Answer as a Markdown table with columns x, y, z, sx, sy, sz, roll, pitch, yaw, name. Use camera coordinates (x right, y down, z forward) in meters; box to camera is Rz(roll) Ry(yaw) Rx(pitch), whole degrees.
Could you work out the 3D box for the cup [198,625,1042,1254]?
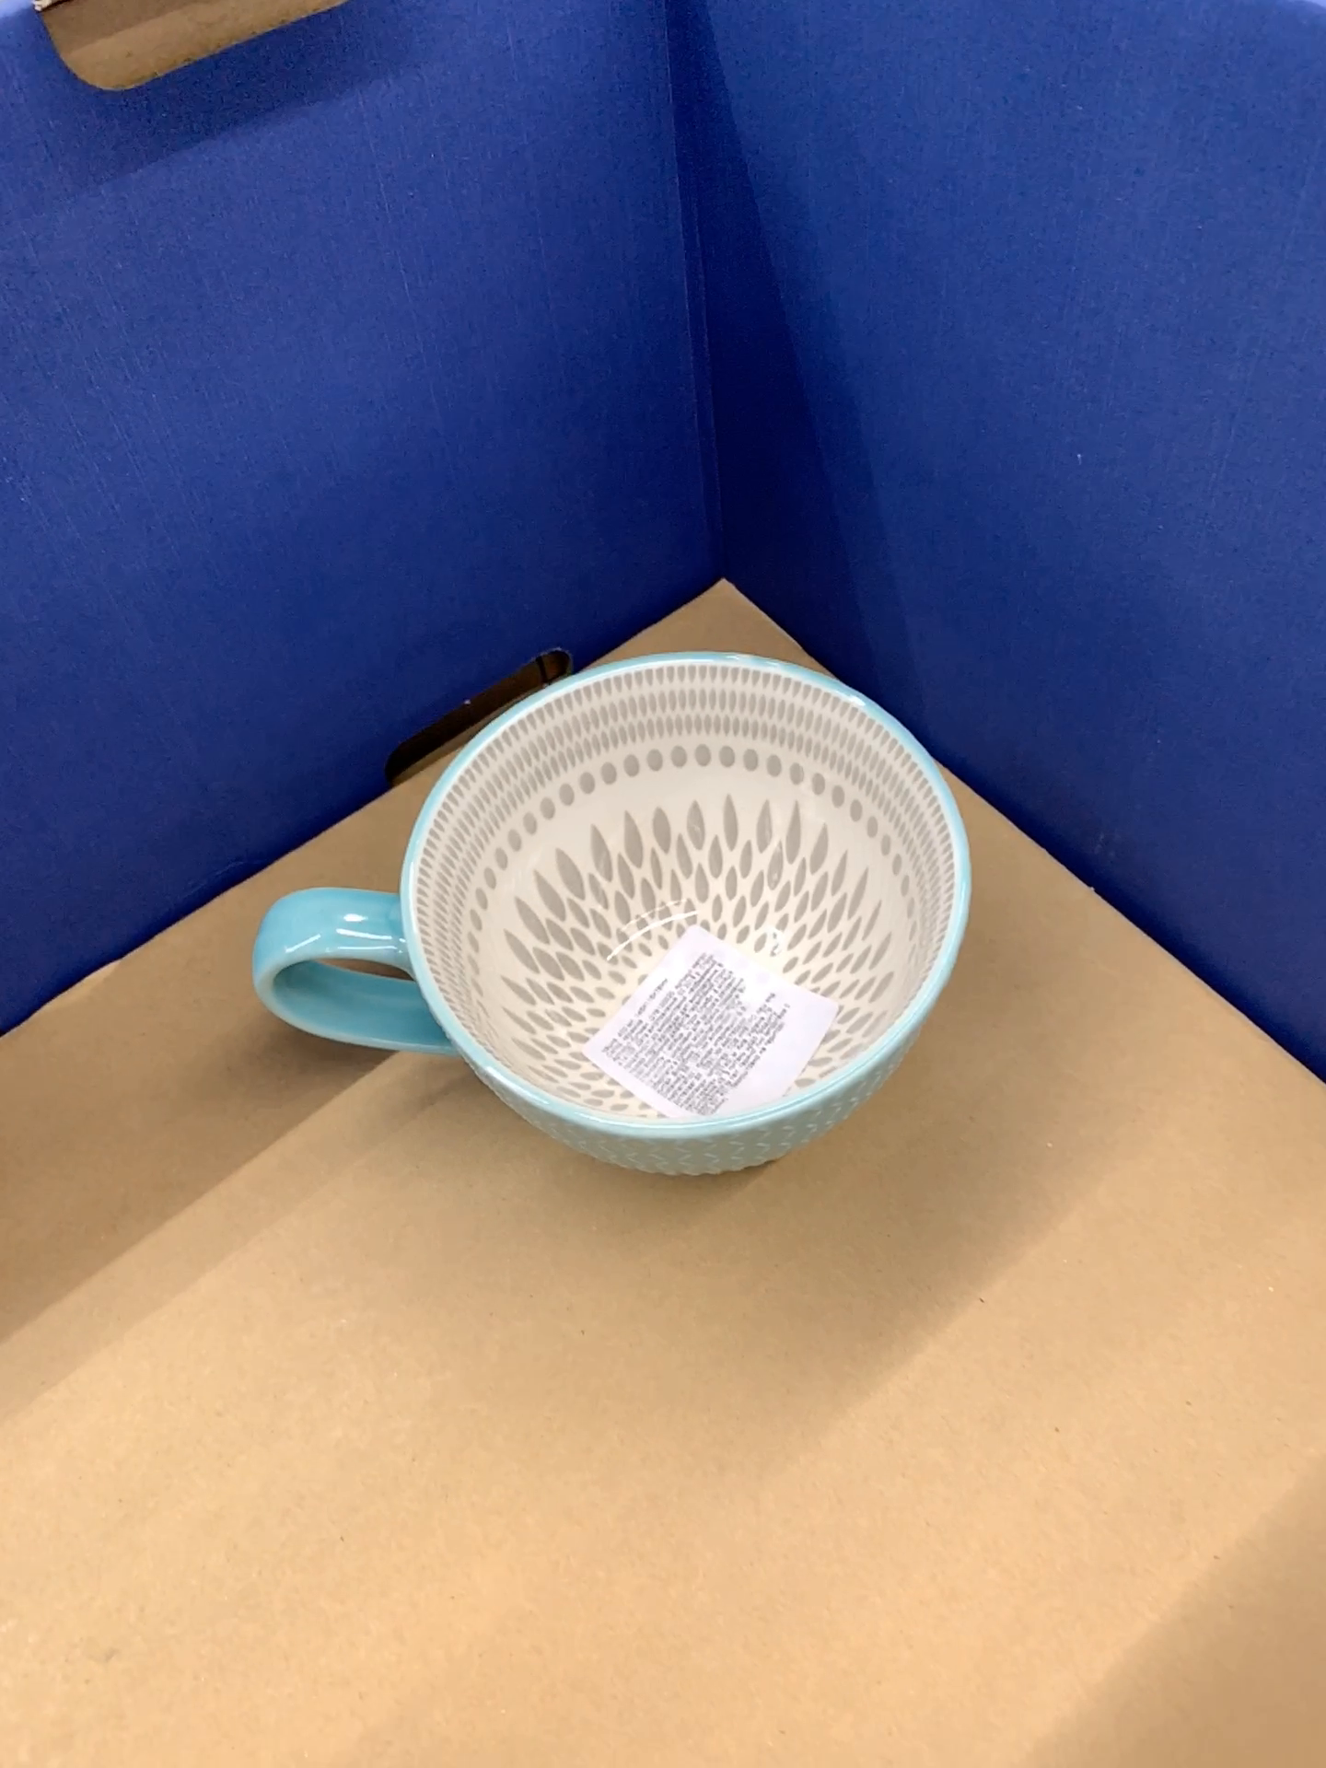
| x | y | z | sx | sy | sz | roll | pitch | yaw | name |
| --- | --- | --- | --- | --- | --- | --- | --- | --- | --- |
| -0.009 | 0.012 | 0.300 | 0.152 | 0.059 | 0.112 | -4 | 59 | 3 | cup |
